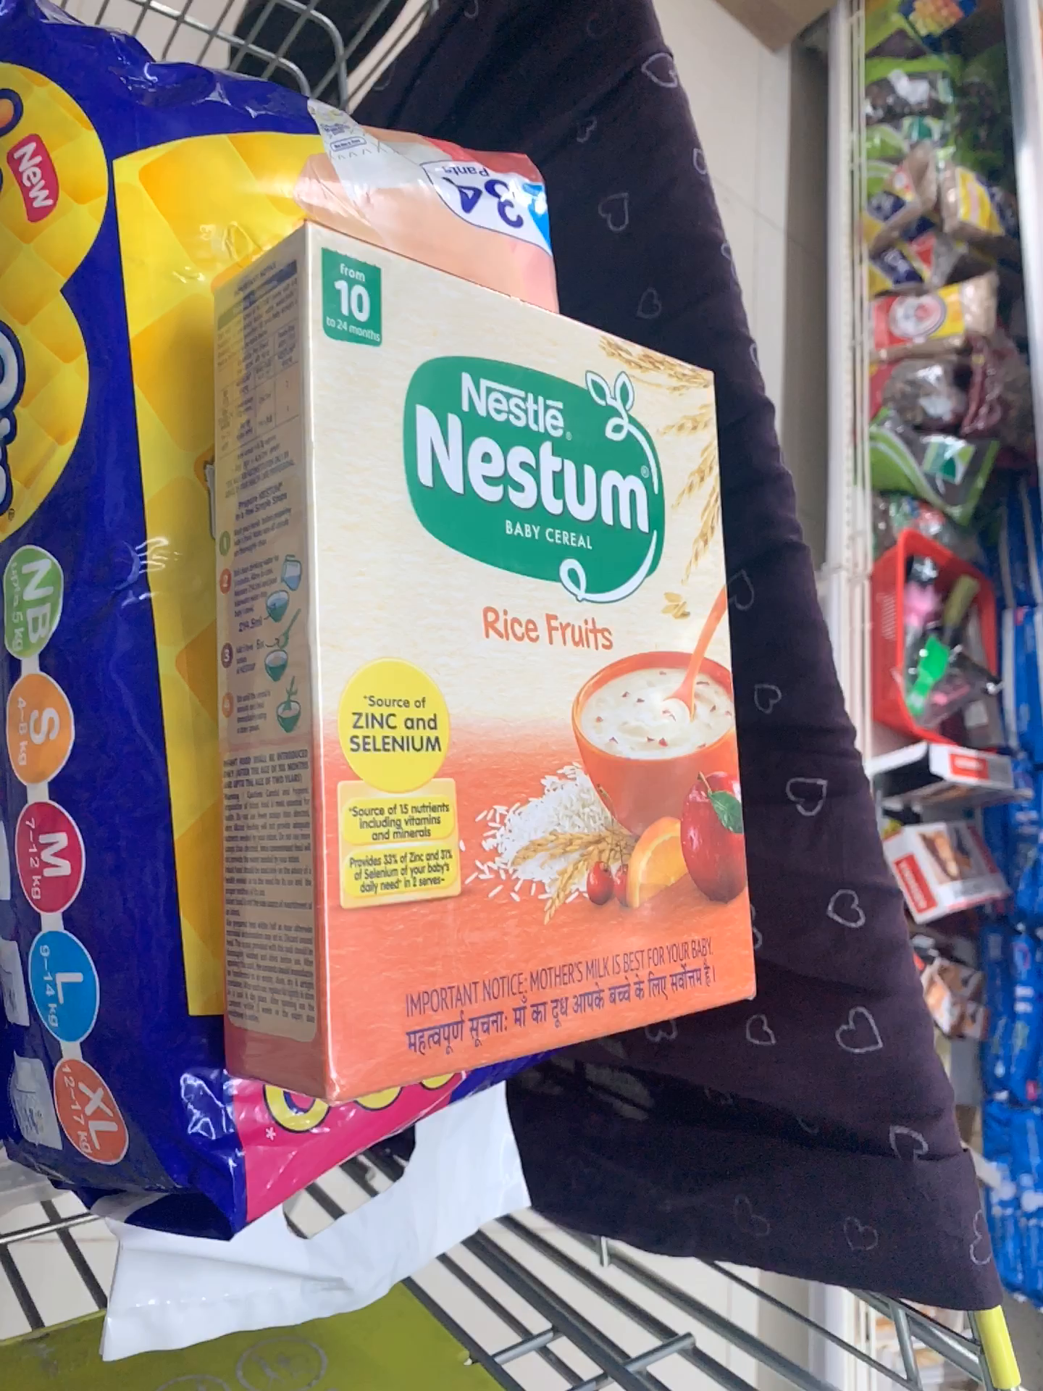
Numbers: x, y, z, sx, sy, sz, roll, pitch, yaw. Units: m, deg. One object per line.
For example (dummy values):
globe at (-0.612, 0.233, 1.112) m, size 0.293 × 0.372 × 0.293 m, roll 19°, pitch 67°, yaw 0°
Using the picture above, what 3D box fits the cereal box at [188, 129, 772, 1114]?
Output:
cereal box at (-0.005, -0.015, 0.299) m, size 0.161 × 0.050 × 0.210 m, roll 3°, pitch 83°, yaw -41°
